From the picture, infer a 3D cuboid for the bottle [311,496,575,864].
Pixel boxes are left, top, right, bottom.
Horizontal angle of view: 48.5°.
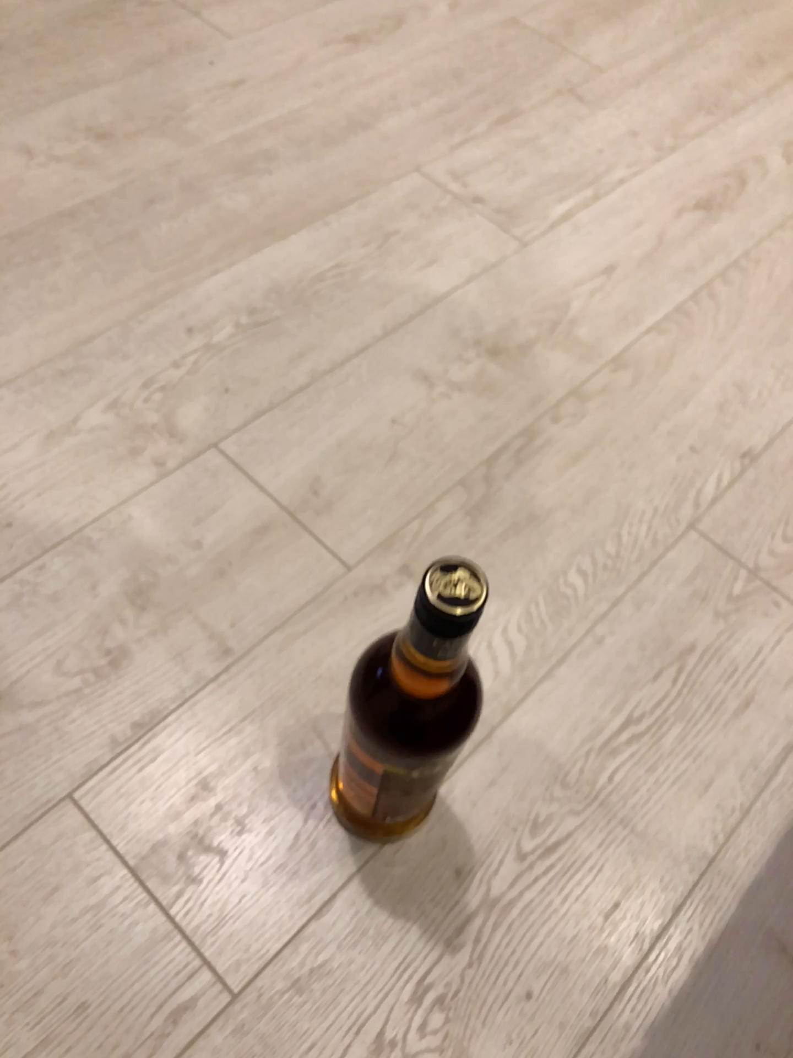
[{"bbox_3d":[0.007,0.095,0.465,0.080,0.257,0.080,4,55,-6],"label":"bottle"}]
